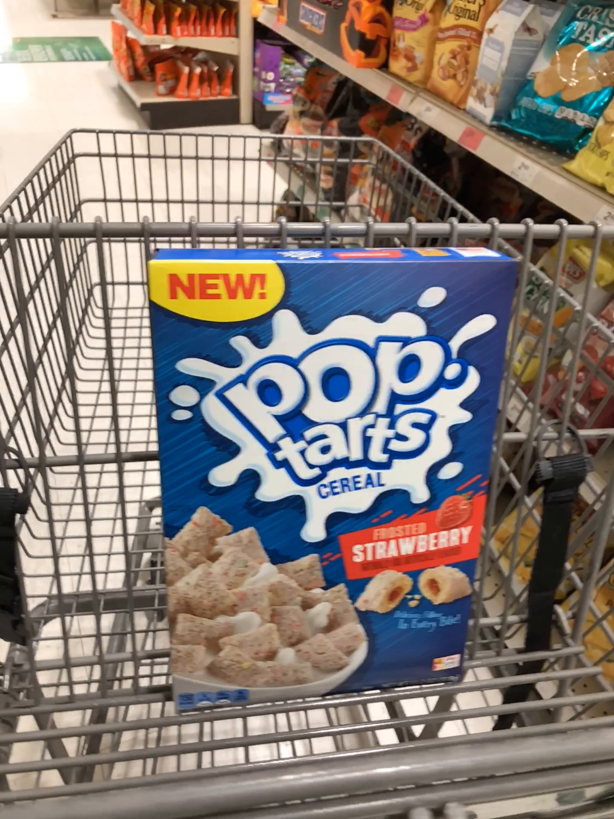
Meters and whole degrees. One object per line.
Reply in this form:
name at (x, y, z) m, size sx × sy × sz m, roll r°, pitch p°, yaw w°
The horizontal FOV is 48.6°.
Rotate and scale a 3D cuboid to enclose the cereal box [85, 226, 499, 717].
cereal box at (-0.009, 0.040, 0.396) m, size 0.200 × 0.280 × 0.050 m, roll -2°, pitch 20°, yaw -8°
